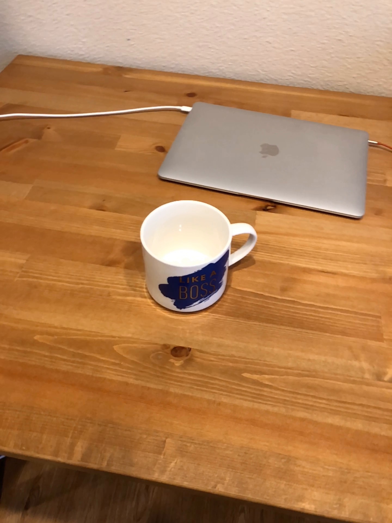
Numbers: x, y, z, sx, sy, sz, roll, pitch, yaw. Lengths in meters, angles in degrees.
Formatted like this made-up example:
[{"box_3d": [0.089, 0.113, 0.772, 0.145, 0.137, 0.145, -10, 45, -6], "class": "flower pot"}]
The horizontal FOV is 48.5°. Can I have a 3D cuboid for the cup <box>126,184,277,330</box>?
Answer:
[{"box_3d": [0.003, -0.007, 0.490, 0.130, 0.090, 0.100, -16, 51, -15], "class": "cup"}]
